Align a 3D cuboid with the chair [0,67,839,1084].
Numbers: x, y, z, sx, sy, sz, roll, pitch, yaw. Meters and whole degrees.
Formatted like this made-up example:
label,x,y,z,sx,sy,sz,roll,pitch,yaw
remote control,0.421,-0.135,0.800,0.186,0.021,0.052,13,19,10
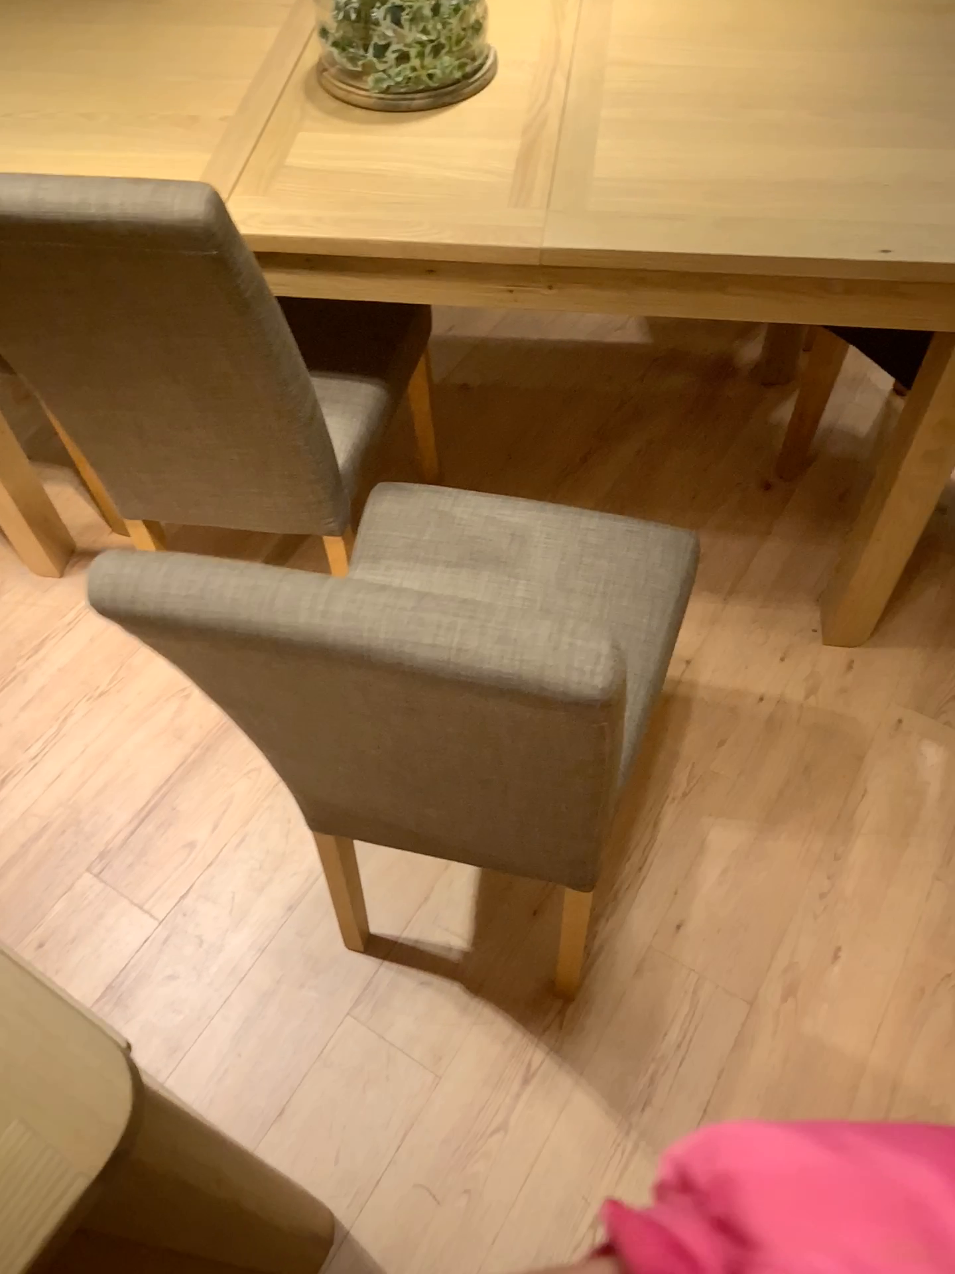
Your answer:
label,x,y,z,sx,sy,sz,roll,pitch,yaw
chair,0.023,0.018,1.095,0.490,0.953,0.614,10,55,10
